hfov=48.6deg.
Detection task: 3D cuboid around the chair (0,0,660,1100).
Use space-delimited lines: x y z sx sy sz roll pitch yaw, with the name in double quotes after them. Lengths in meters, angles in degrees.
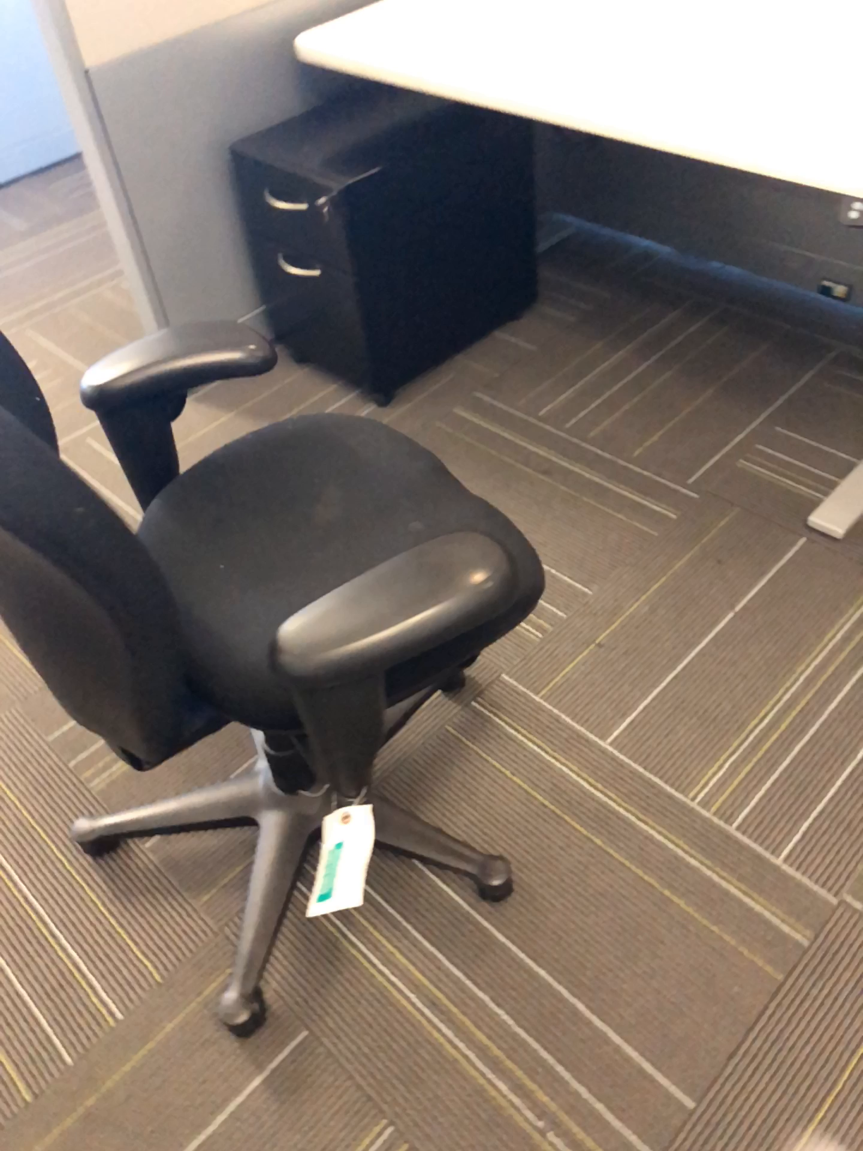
-0.260 -0.062 1.128 0.680 0.995 0.703 -23 46 -15 "chair"
